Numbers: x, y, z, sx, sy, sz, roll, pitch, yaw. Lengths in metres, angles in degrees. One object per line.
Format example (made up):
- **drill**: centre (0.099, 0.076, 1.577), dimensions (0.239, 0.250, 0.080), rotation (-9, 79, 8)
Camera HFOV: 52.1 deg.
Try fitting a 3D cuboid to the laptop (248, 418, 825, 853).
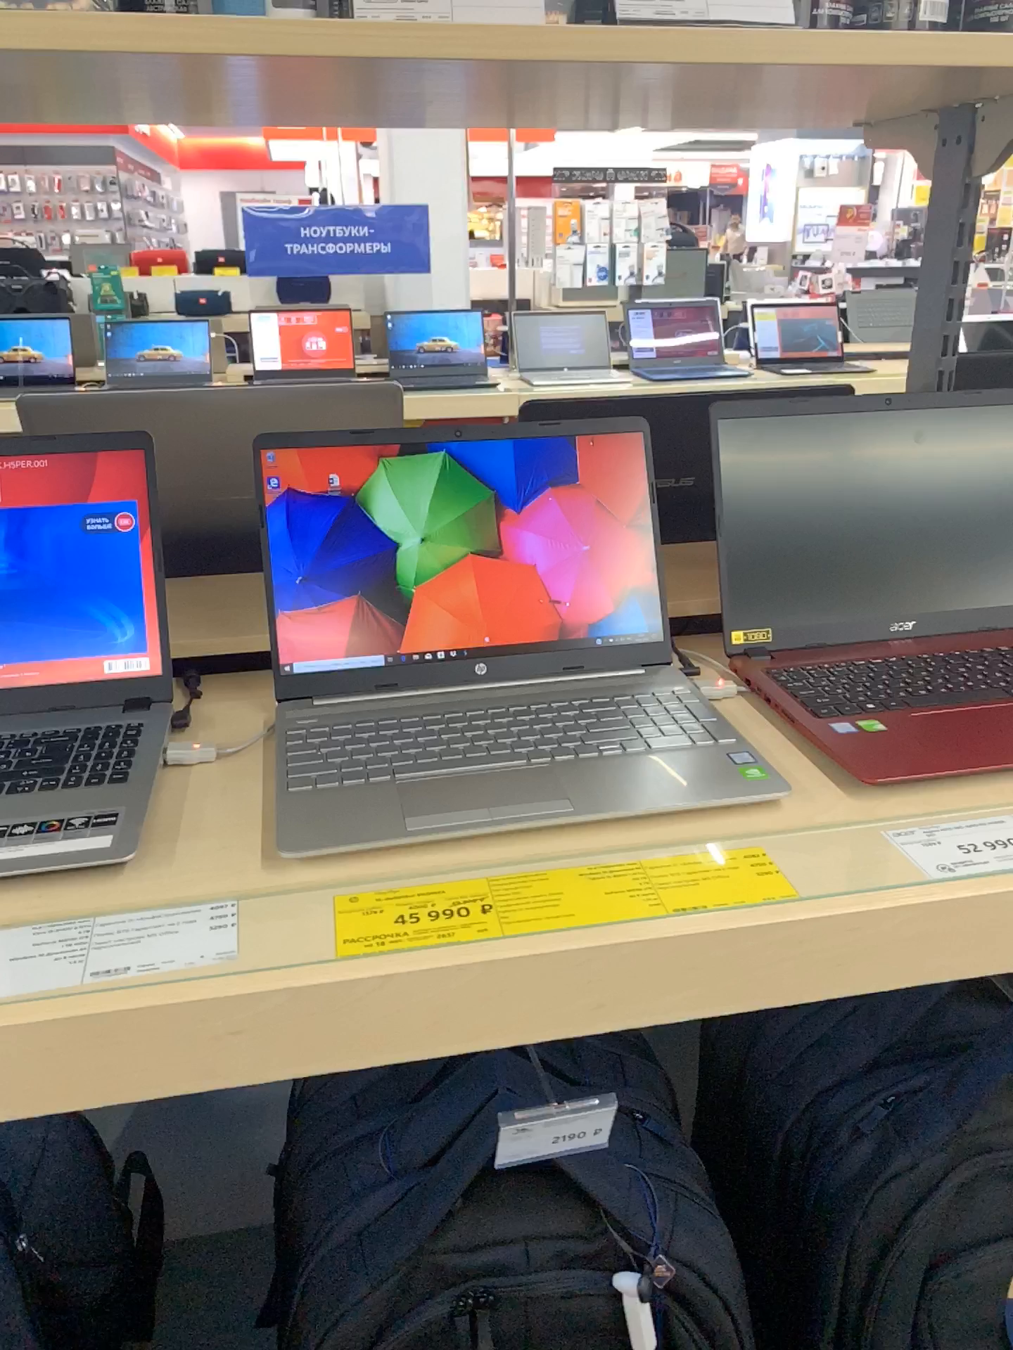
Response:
- **laptop**: centre (-0.006, -0.063, 0.825), dimensions (0.359, 0.209, 0.348), rotation (-5, 23, -10)
